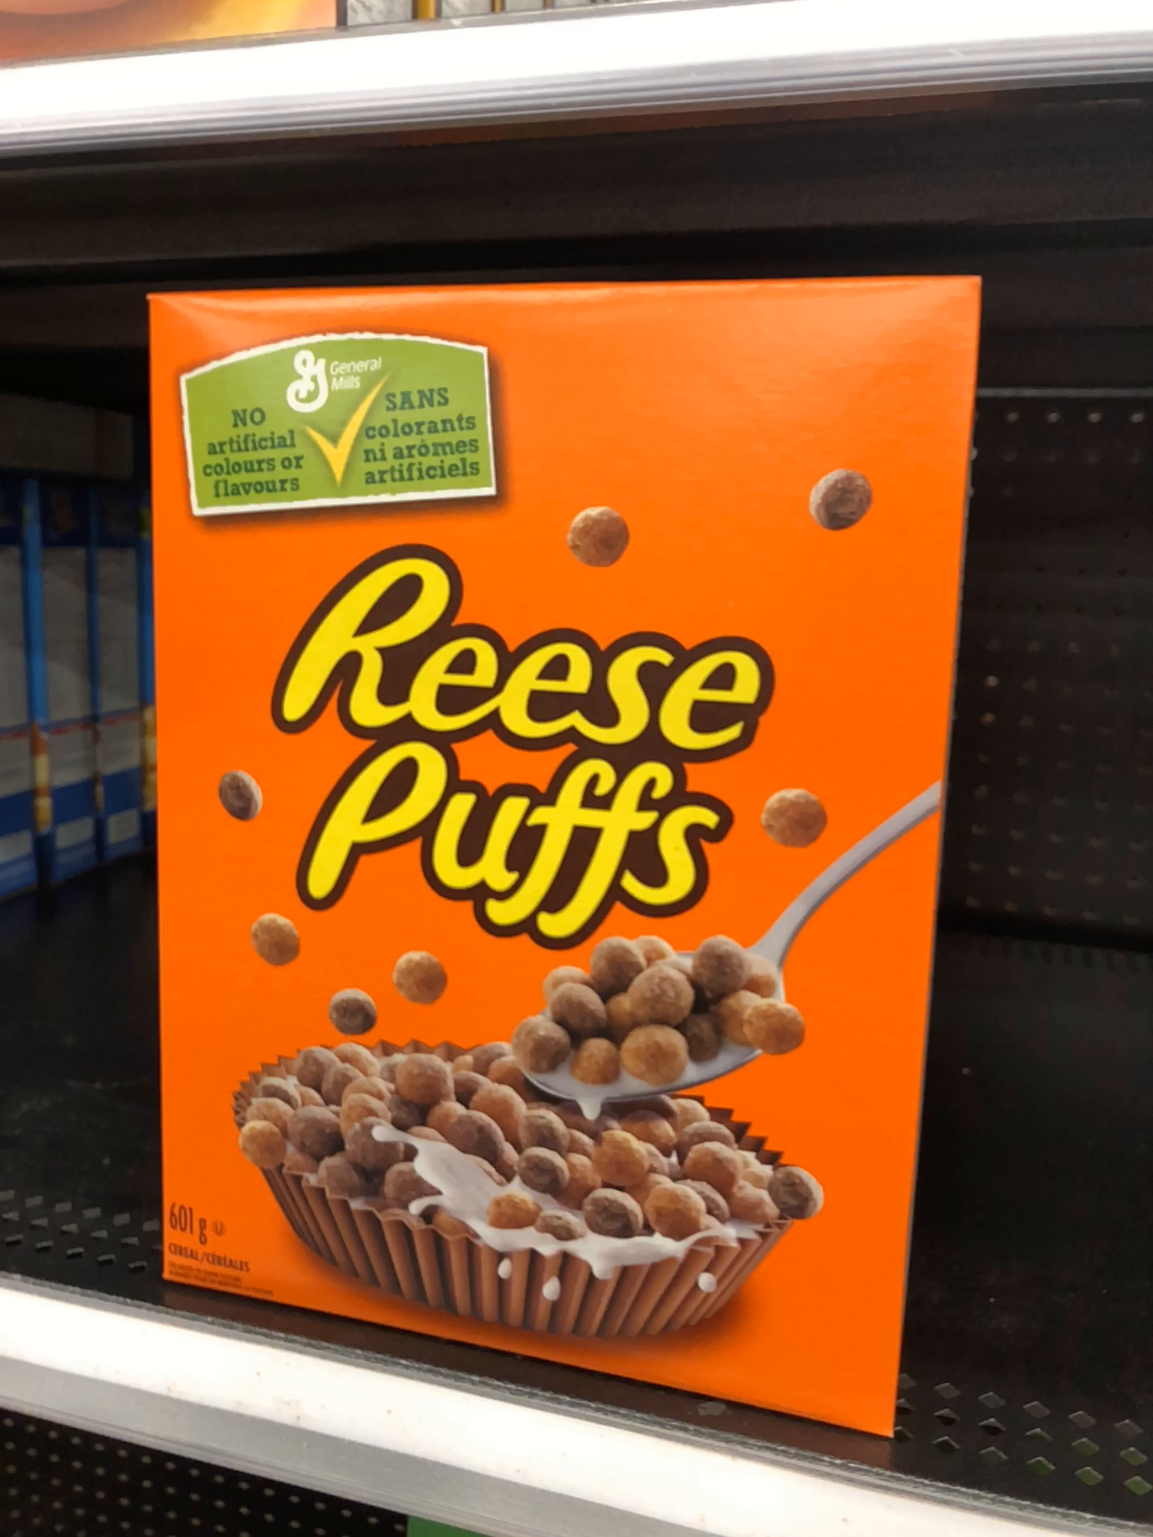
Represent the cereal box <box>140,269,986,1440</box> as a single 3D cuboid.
[{"bbox_3d":[-0.009,0.020,0.407,0.240,0.319,0.070,4,9,15],"label":"cereal box"}]
